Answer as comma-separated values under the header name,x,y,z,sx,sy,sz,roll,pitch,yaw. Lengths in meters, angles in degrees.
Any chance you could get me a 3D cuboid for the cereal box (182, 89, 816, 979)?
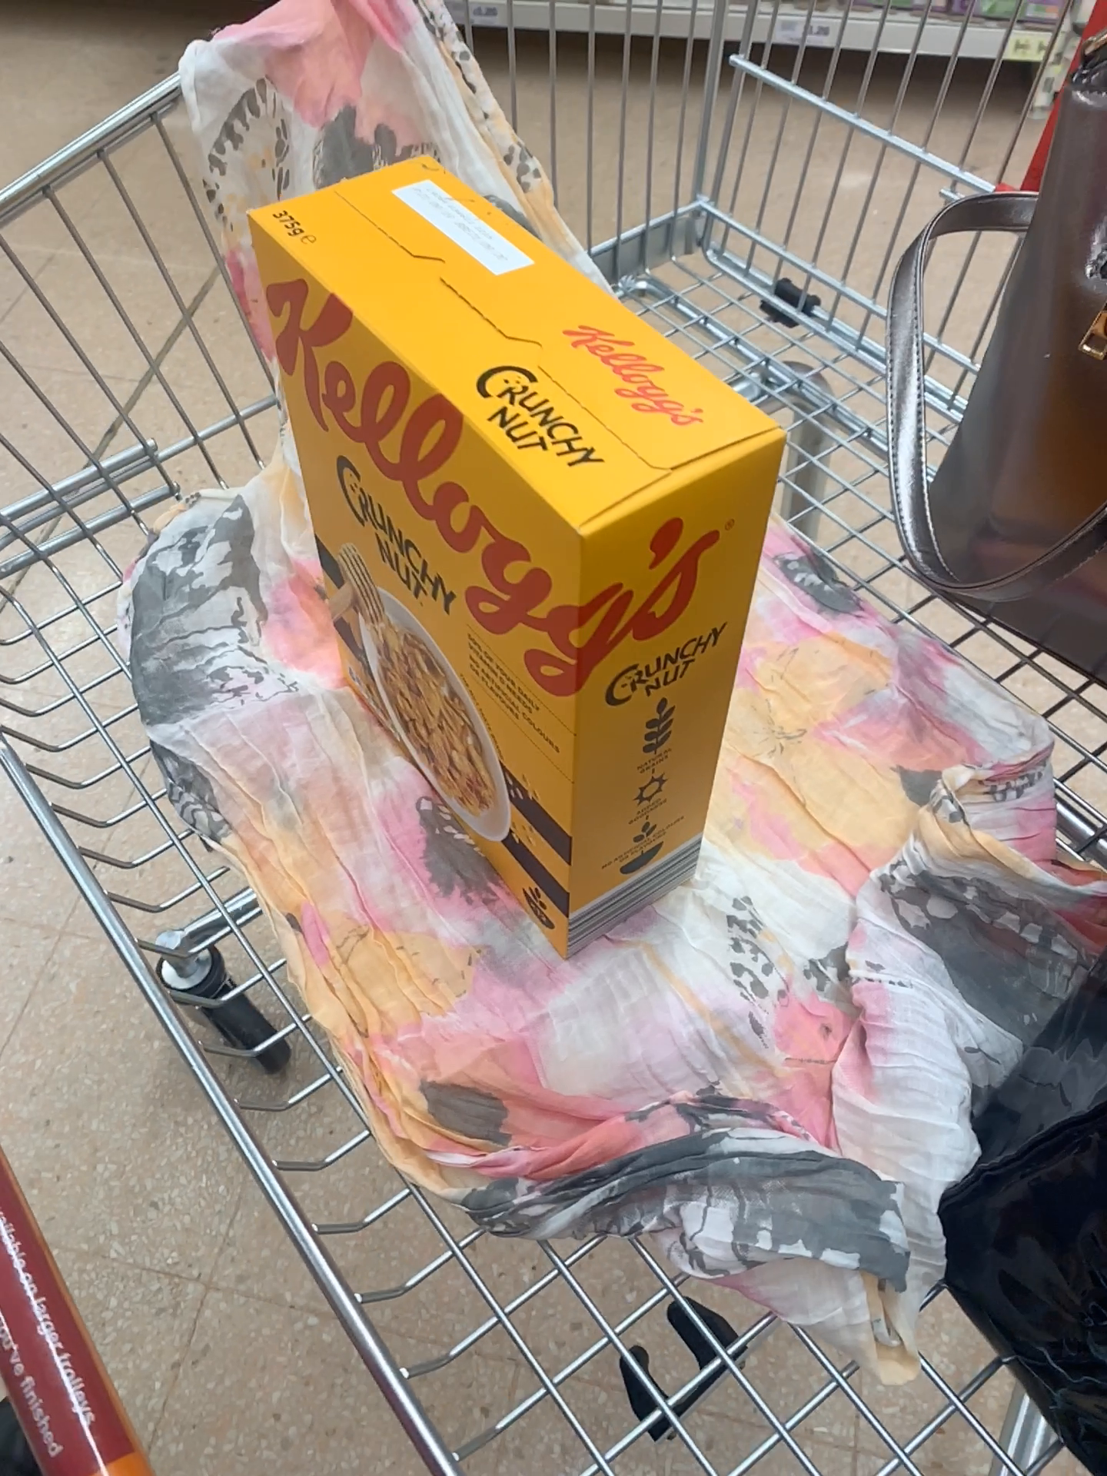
name,x,y,z,sx,sy,sz,roll,pitch,yaw
cereal box,-0.026,-0.063,0.435,0.080,0.258,0.211,-31,59,-20
